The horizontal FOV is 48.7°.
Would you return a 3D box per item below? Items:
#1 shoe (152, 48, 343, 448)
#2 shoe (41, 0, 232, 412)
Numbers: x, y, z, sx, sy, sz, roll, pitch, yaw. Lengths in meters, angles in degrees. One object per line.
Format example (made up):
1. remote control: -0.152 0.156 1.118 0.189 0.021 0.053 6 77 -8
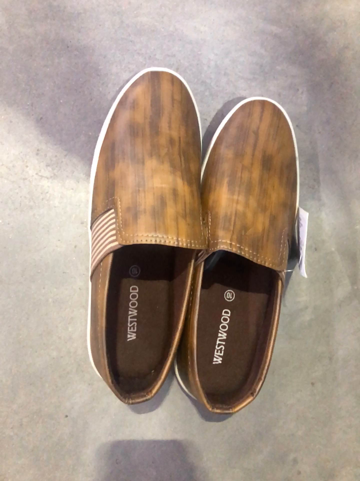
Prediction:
1. shoe: 0.058 0.003 0.371 0.110 0.100 0.310 10 82 -5
2. shoe: -0.030 -0.029 0.325 0.110 0.100 0.290 4 82 -6
